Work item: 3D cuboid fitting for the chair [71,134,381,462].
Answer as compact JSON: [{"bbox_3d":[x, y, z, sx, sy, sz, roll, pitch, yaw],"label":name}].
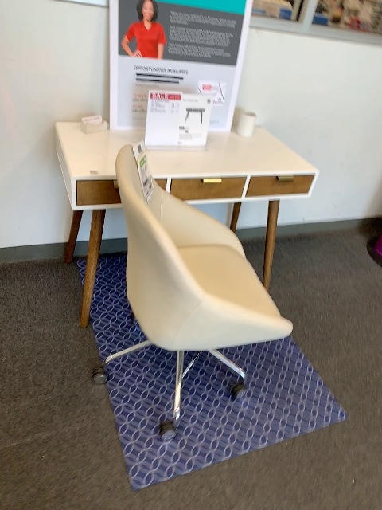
[{"bbox_3d":[0.006,0.087,1.310,0.691,0.736,0.673,-6,39,-22],"label":"chair"}]
